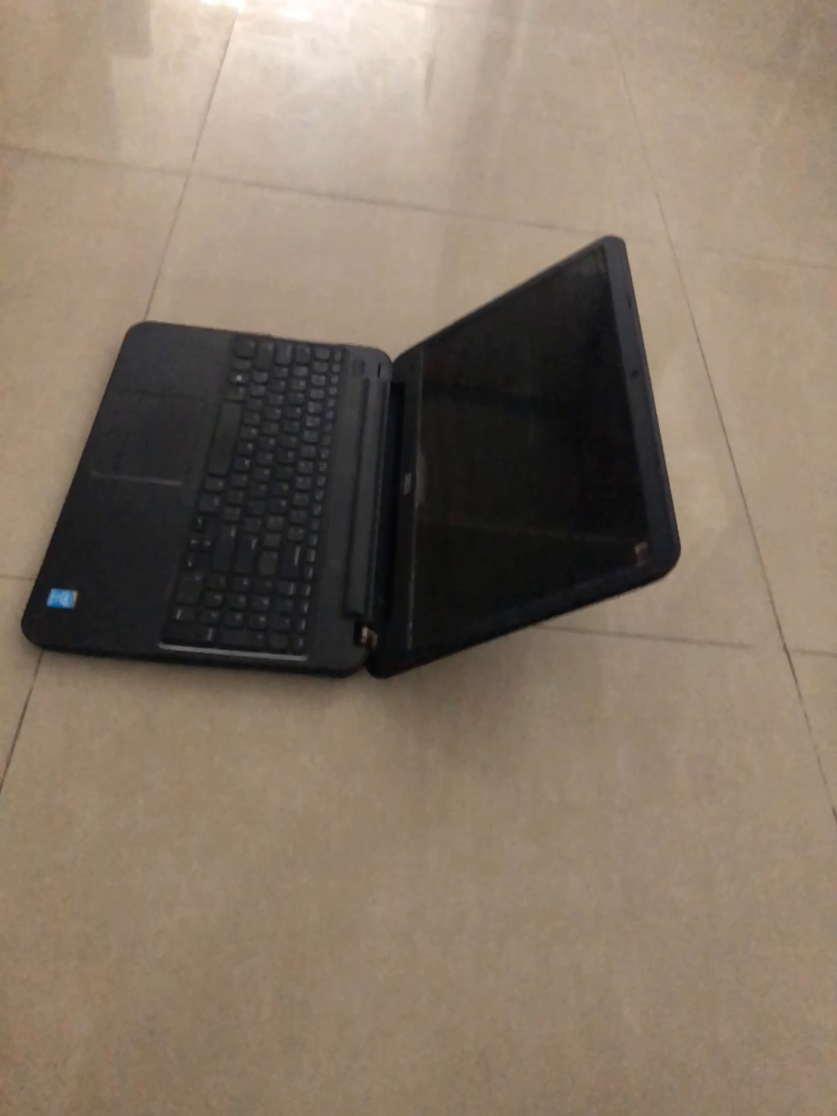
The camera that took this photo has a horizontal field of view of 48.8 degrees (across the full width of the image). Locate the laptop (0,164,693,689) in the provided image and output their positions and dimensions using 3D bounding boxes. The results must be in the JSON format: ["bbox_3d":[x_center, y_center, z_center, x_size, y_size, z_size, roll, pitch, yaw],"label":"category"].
[{"bbox_3d":[-0.052,-0.111,0.716,0.427,0.163,0.359,6,52,-4],"label":"laptop"}]
